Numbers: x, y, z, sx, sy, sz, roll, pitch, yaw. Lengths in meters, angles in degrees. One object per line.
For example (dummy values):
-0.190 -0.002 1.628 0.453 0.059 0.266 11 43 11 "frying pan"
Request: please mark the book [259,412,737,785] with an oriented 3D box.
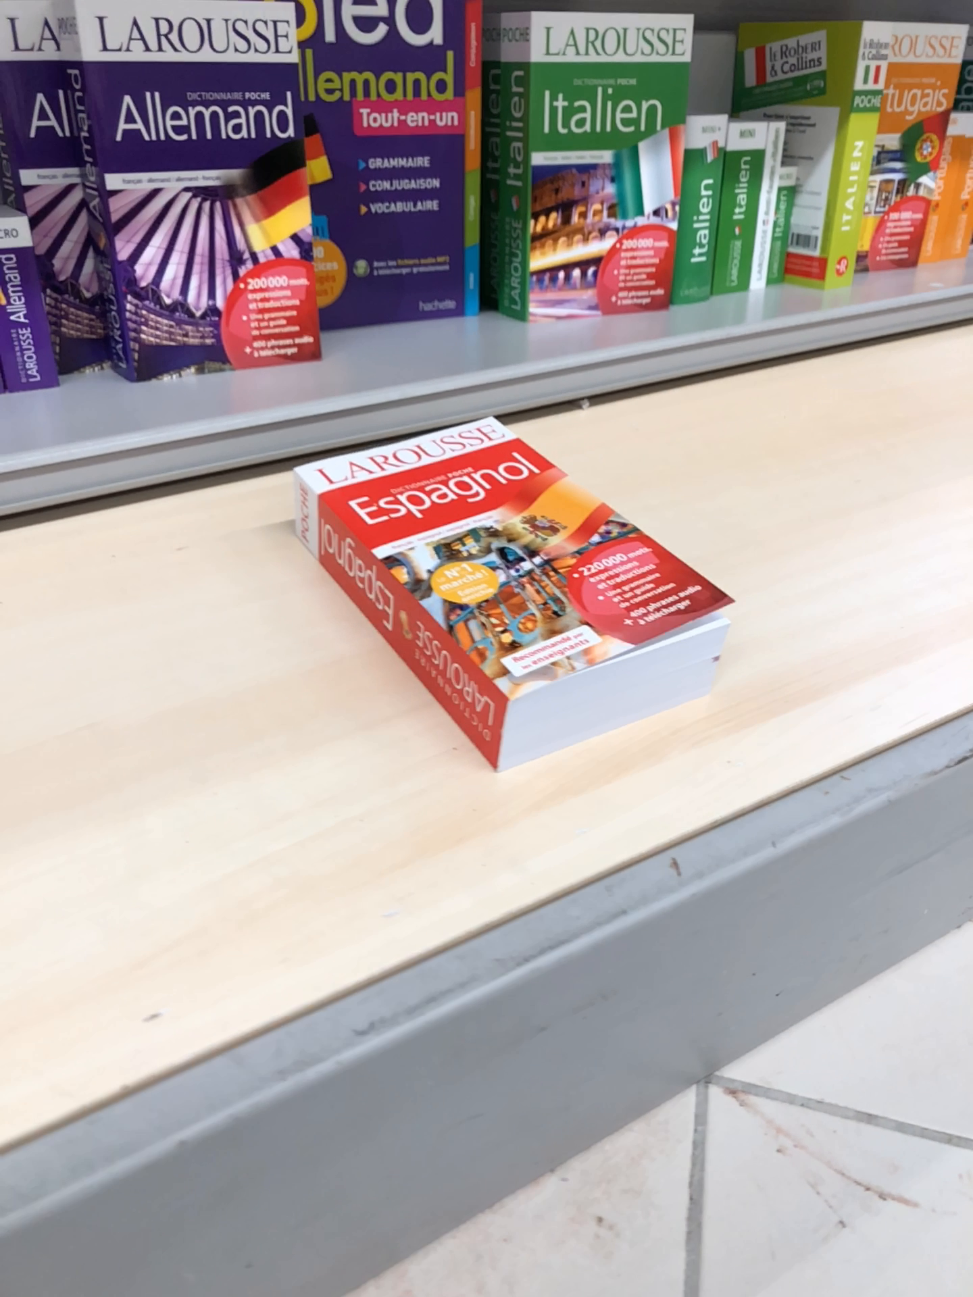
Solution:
-0.004 -0.034 0.455 0.118 0.044 0.183 -17 43 -29 "book"
